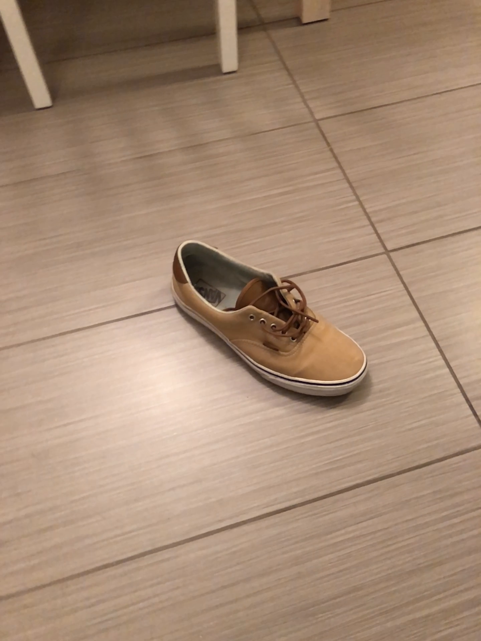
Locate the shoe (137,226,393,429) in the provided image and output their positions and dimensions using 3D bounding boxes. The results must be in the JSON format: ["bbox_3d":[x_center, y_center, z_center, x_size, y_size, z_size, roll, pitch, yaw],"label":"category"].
[{"bbox_3d":[0.026,0.002,0.690,0.310,0.070,0.110,30,65,18],"label":"shoe"}]
